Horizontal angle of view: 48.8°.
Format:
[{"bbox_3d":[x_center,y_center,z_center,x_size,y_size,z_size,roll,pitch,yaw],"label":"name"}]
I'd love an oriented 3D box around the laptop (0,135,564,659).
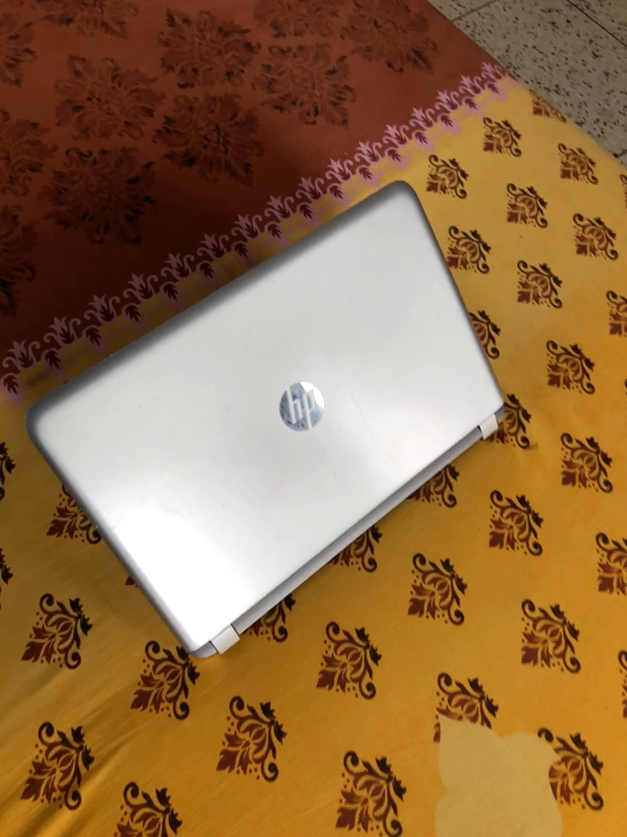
[{"bbox_3d":[-0.024,-0.026,0.603,0.372,0.155,0.249,-36,73,-17],"label":"laptop"}]
